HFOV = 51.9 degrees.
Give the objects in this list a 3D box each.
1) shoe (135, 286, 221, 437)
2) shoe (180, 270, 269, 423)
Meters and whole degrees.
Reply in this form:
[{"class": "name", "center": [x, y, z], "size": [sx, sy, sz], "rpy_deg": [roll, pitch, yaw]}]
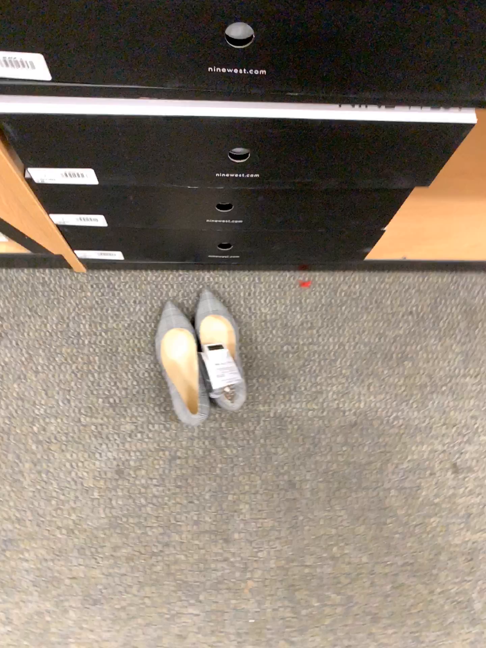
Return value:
[{"class": "shoe", "center": [-0.112, 0.073, 0.883], "size": [0.090, 0.150, 0.230], "rpy_deg": [-14, 77, -7]}, {"class": "shoe", "center": [-0.037, 0.046, 0.886], "size": [0.090, 0.150, 0.230], "rpy_deg": [-14, 77, -7]}]
